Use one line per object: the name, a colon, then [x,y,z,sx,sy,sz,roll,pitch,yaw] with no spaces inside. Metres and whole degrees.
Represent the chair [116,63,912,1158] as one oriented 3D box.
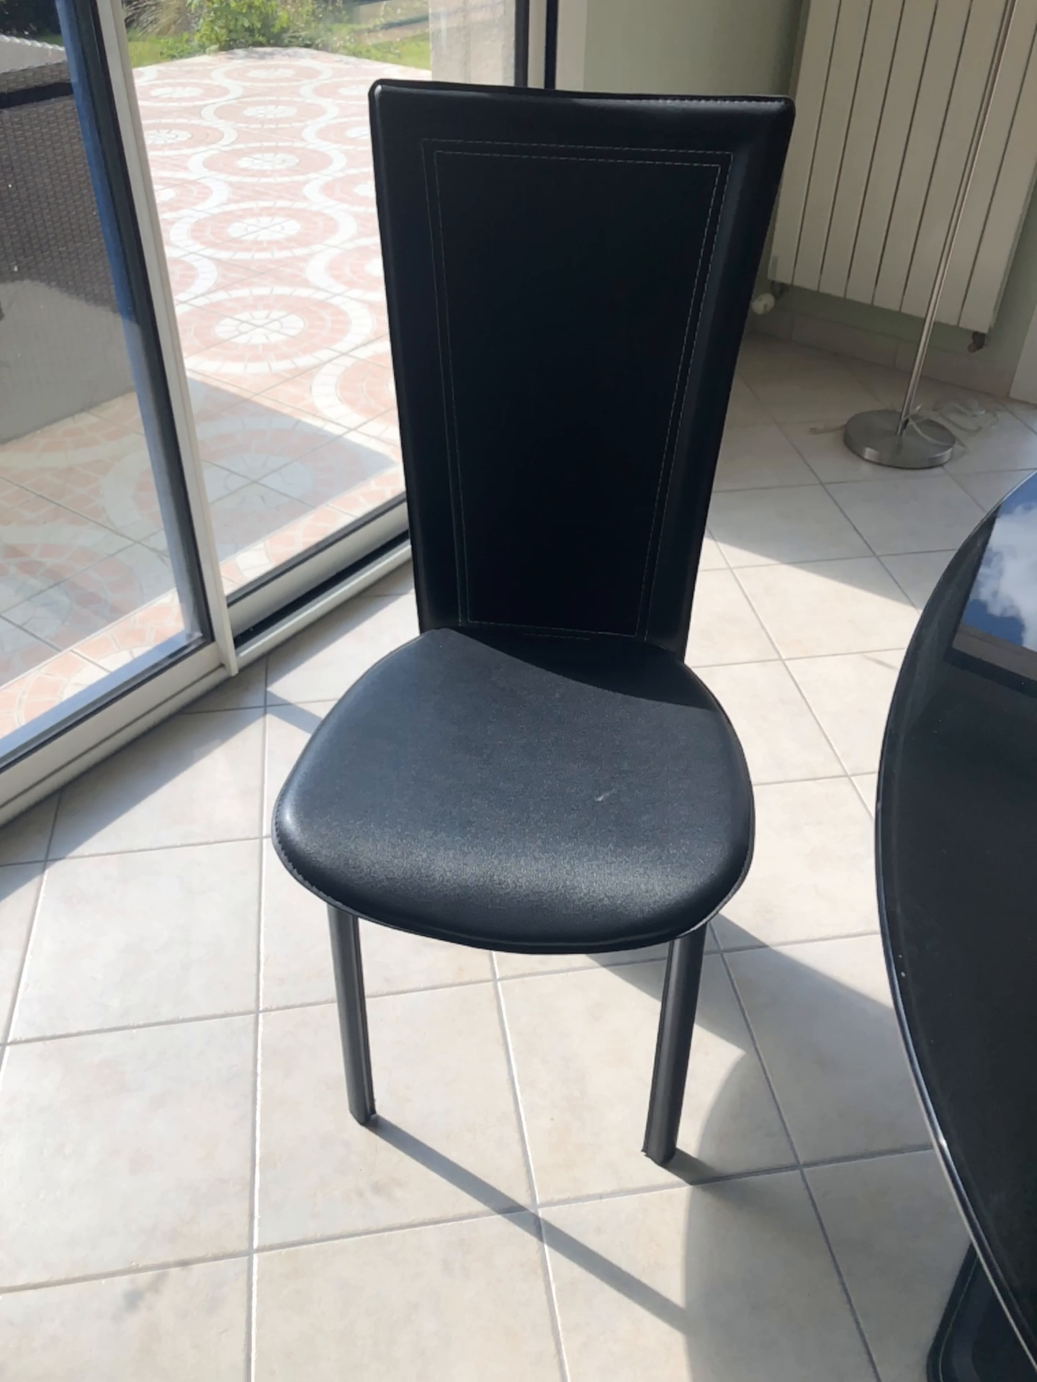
chair: [0.015,-0.055,1.103,0.450,0.895,0.503,5,37,5]
